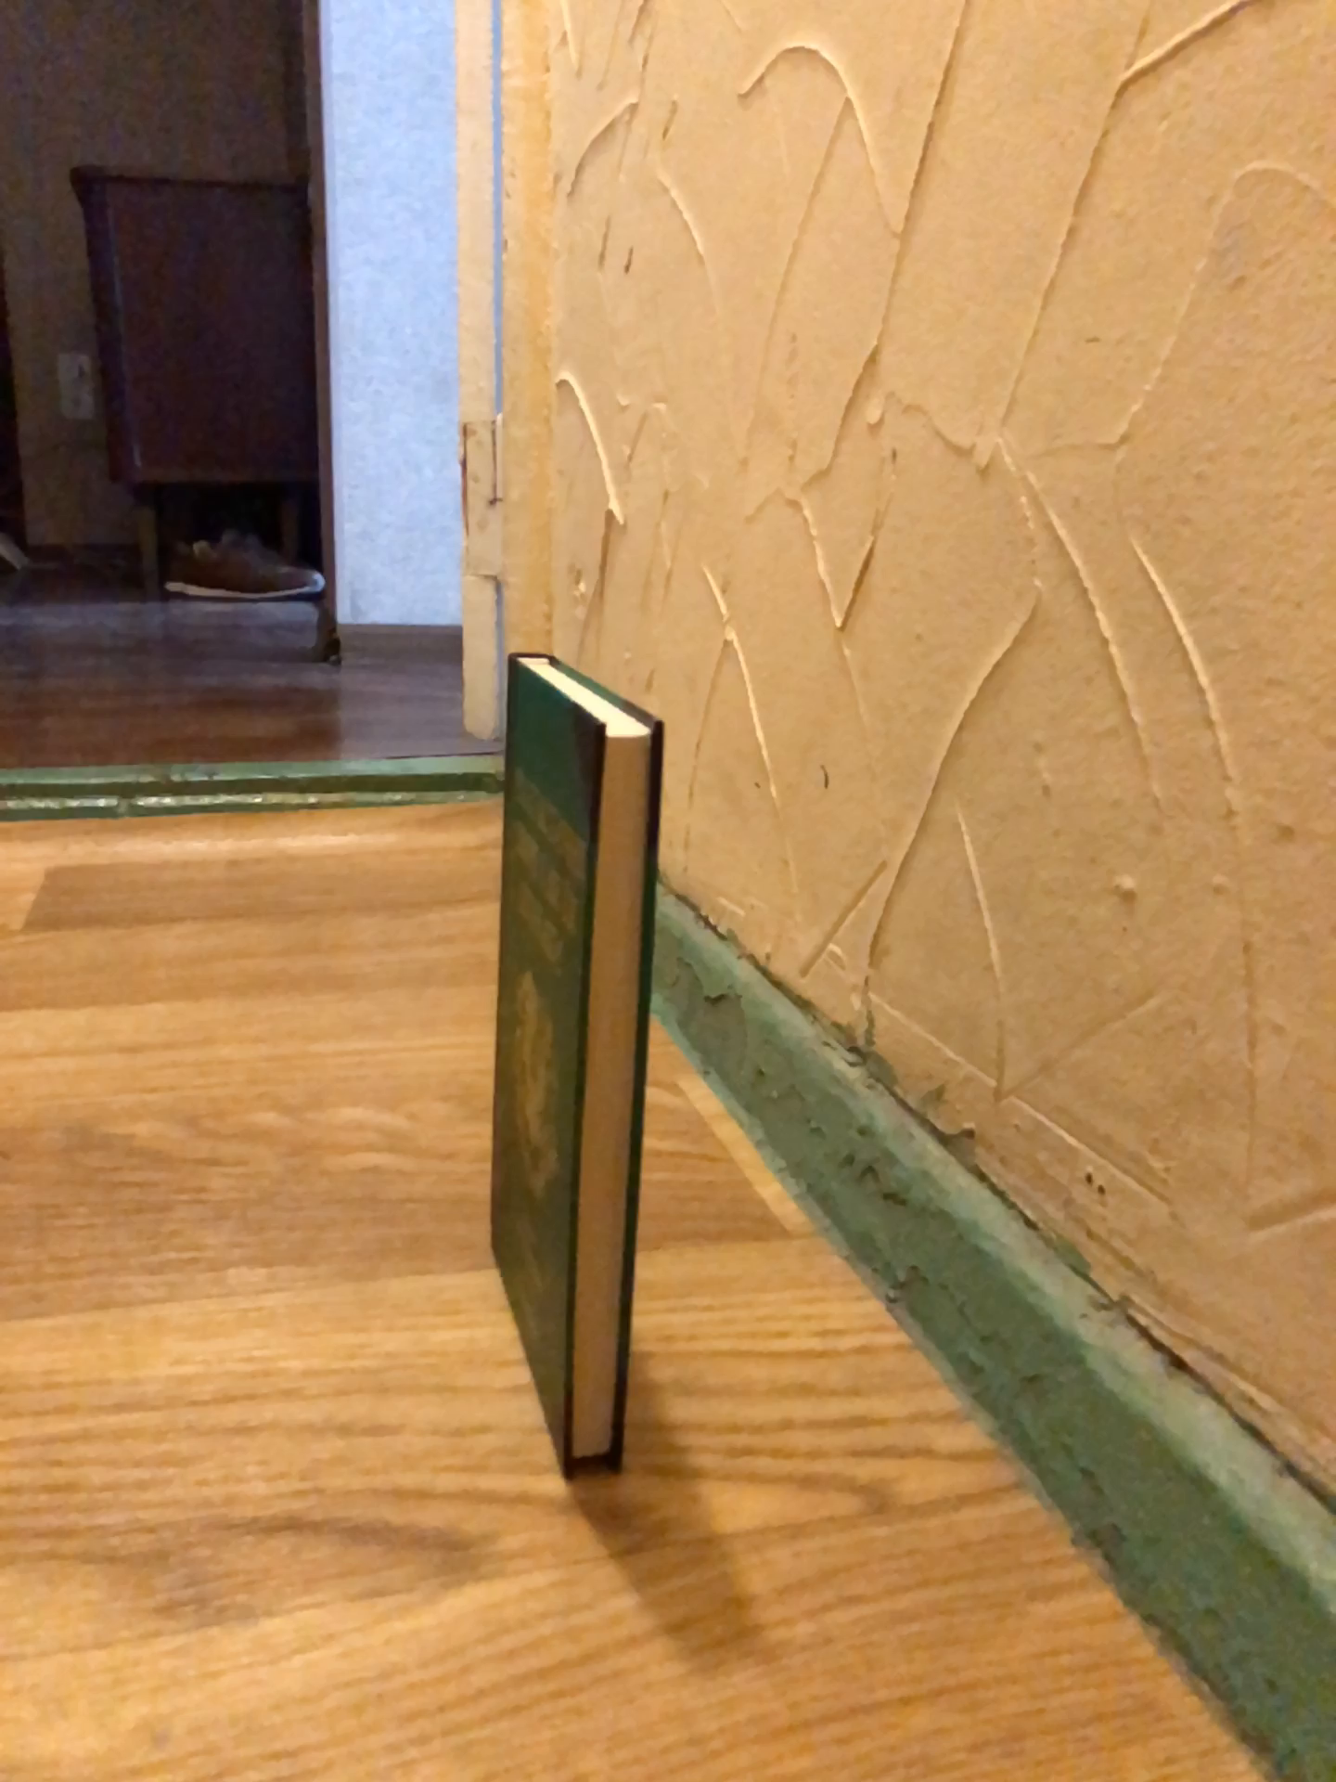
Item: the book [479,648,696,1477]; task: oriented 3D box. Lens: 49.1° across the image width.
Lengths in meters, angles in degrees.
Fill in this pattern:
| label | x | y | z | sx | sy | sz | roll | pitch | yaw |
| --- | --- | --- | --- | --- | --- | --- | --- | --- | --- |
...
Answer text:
| label | x | y | z | sx | sy | sz | roll | pitch | yaw |
| --- | --- | --- | --- | --- | --- | --- | --- | --- | --- |
| book | -0.030 | 0.036 | 0.426 | 0.024 | 0.197 | 0.148 | 0 | 14 | -15 |
